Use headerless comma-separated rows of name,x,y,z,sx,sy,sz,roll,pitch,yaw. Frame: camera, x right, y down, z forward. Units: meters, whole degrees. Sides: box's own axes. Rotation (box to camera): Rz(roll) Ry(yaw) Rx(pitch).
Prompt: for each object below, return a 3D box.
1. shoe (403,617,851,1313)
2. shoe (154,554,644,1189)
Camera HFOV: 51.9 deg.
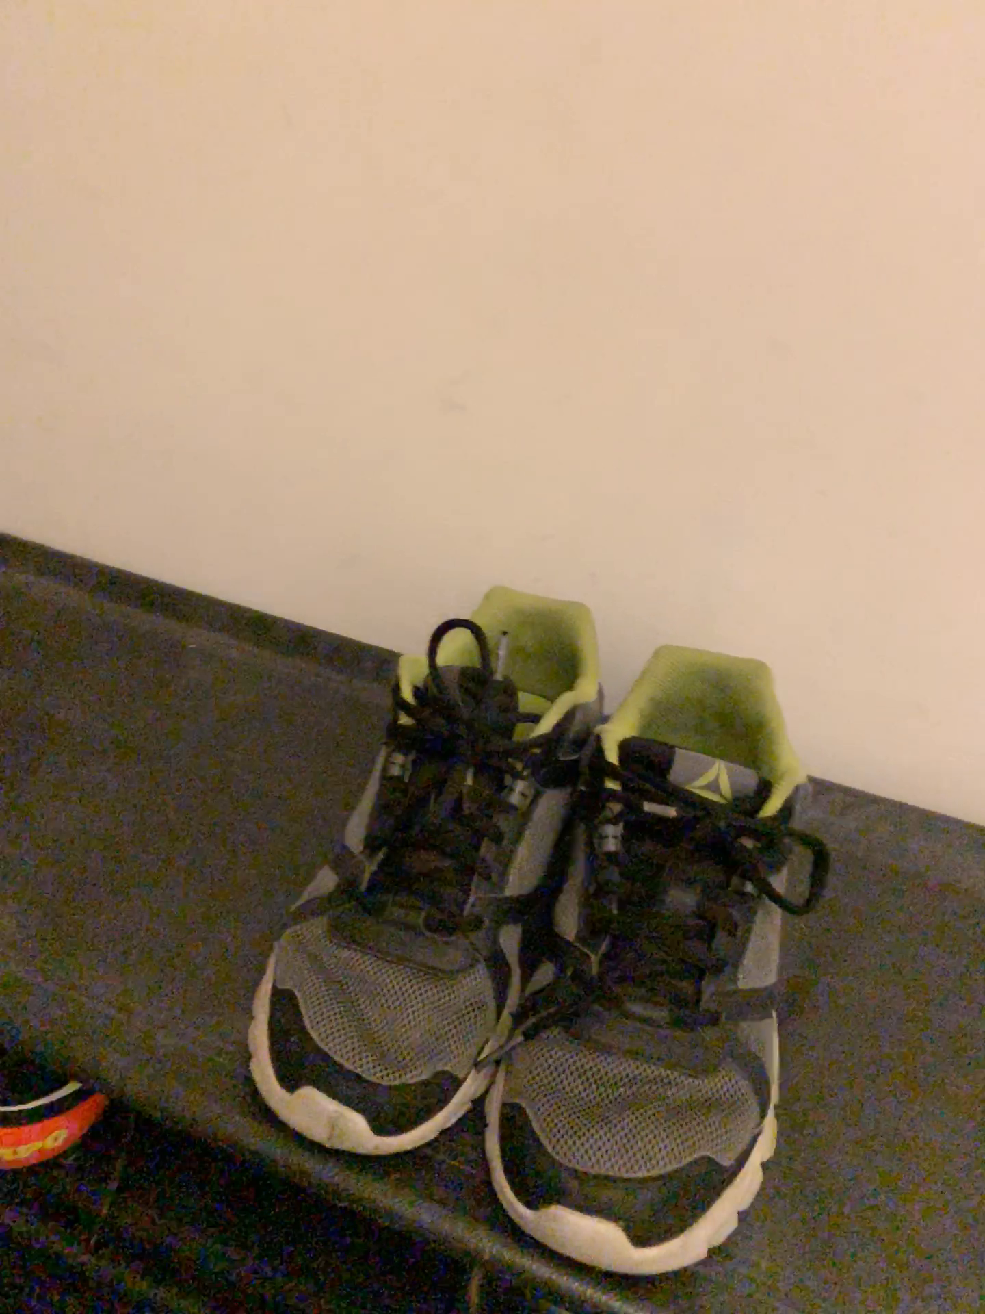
shoe,0.068,0.091,0.393,0.110,0.069,0.262,14,36,13
shoe,-0.021,0.066,0.435,0.100,0.099,0.252,15,36,14
